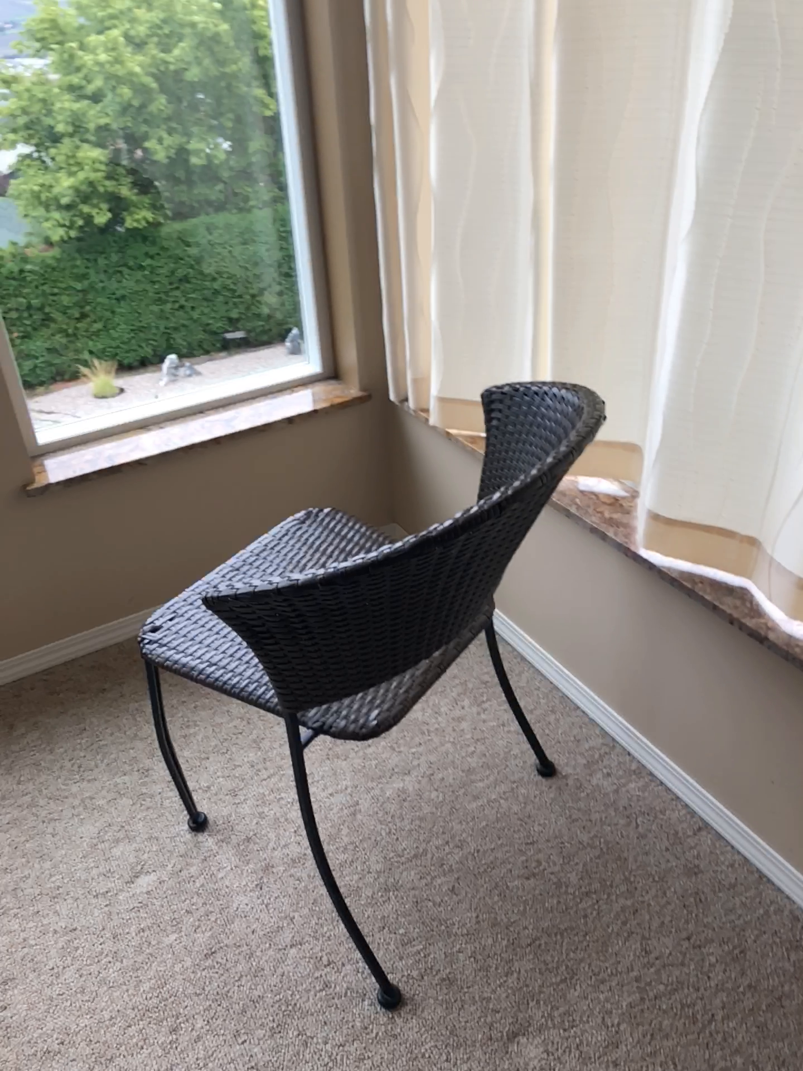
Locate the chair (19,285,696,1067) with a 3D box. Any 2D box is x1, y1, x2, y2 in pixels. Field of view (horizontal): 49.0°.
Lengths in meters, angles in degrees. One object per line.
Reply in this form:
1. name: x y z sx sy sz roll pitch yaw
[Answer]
1. chair: -0.028 0.148 1.287 0.612 0.787 0.561 20 40 32
